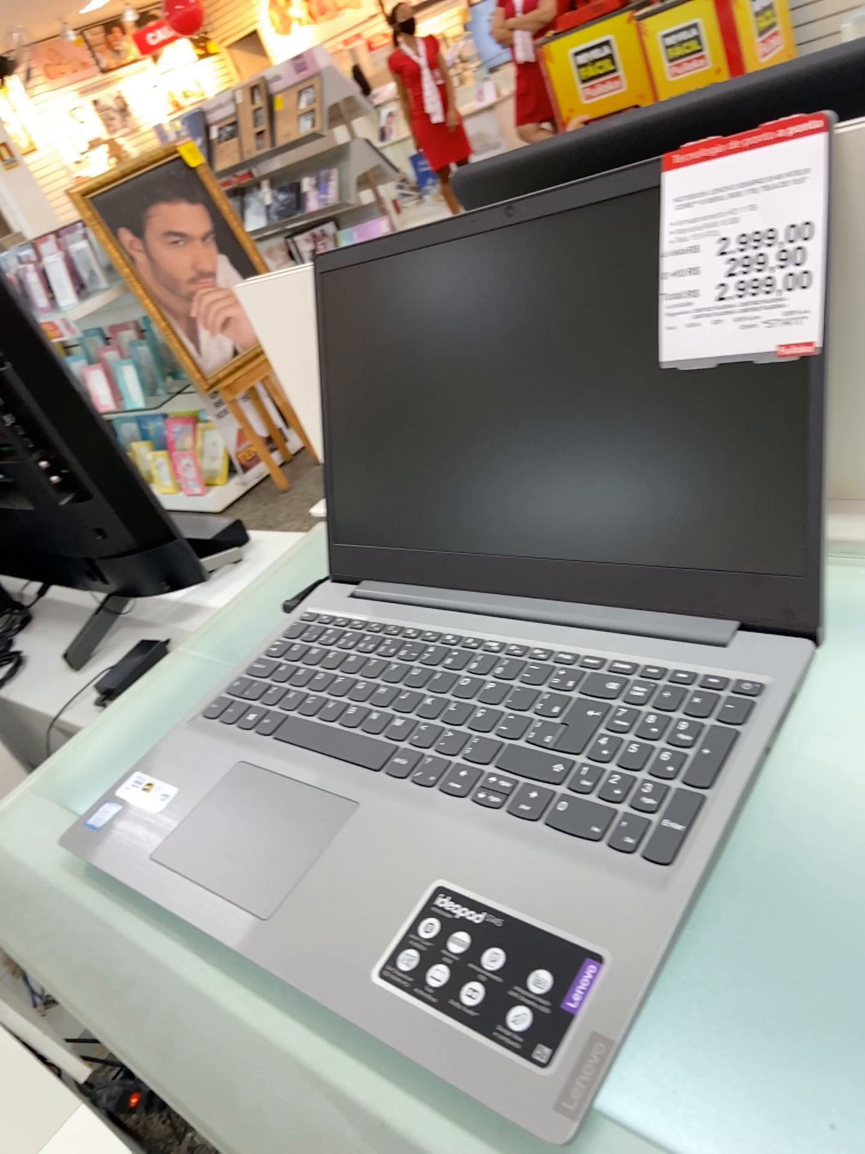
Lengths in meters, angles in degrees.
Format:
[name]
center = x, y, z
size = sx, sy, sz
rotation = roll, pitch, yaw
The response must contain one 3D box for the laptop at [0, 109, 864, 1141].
[laptop]
center = -0.023, -0.027, 0.455
size = 0.354, 0.195, 0.370
rotation = 5, 41, 42
